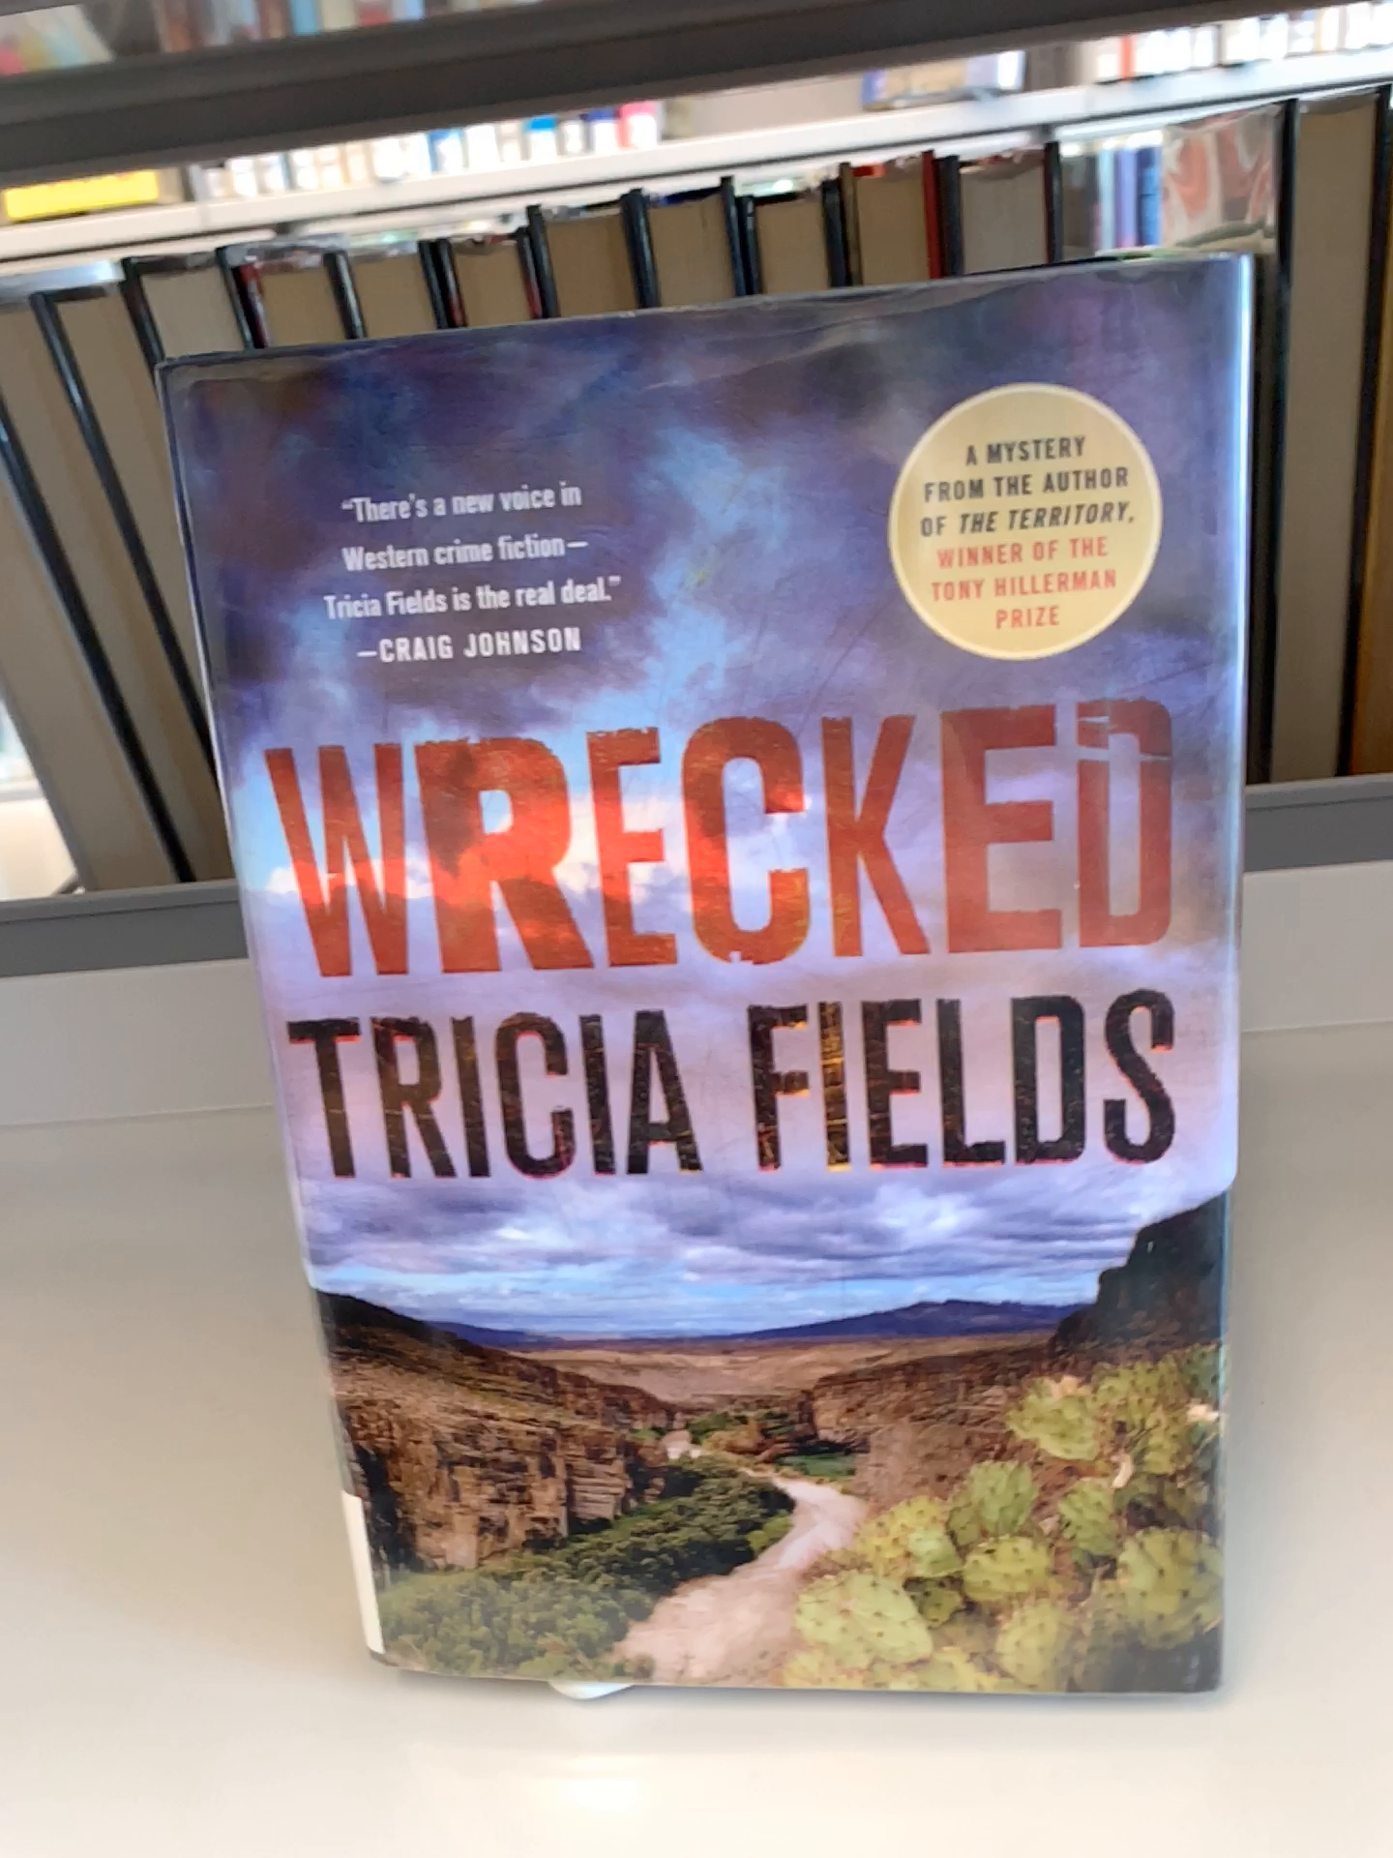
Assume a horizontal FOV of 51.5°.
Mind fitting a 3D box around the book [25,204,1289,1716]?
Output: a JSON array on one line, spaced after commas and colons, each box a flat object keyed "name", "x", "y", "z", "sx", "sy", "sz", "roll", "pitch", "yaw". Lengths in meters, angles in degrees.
[{"name": "book", "x": 0.003, "y": 0.017, "z": 0.214, "sx": 0.150, "sy": 0.203, "sz": 0.040, "roll": -3, "pitch": 16, "yaw": 8}]
